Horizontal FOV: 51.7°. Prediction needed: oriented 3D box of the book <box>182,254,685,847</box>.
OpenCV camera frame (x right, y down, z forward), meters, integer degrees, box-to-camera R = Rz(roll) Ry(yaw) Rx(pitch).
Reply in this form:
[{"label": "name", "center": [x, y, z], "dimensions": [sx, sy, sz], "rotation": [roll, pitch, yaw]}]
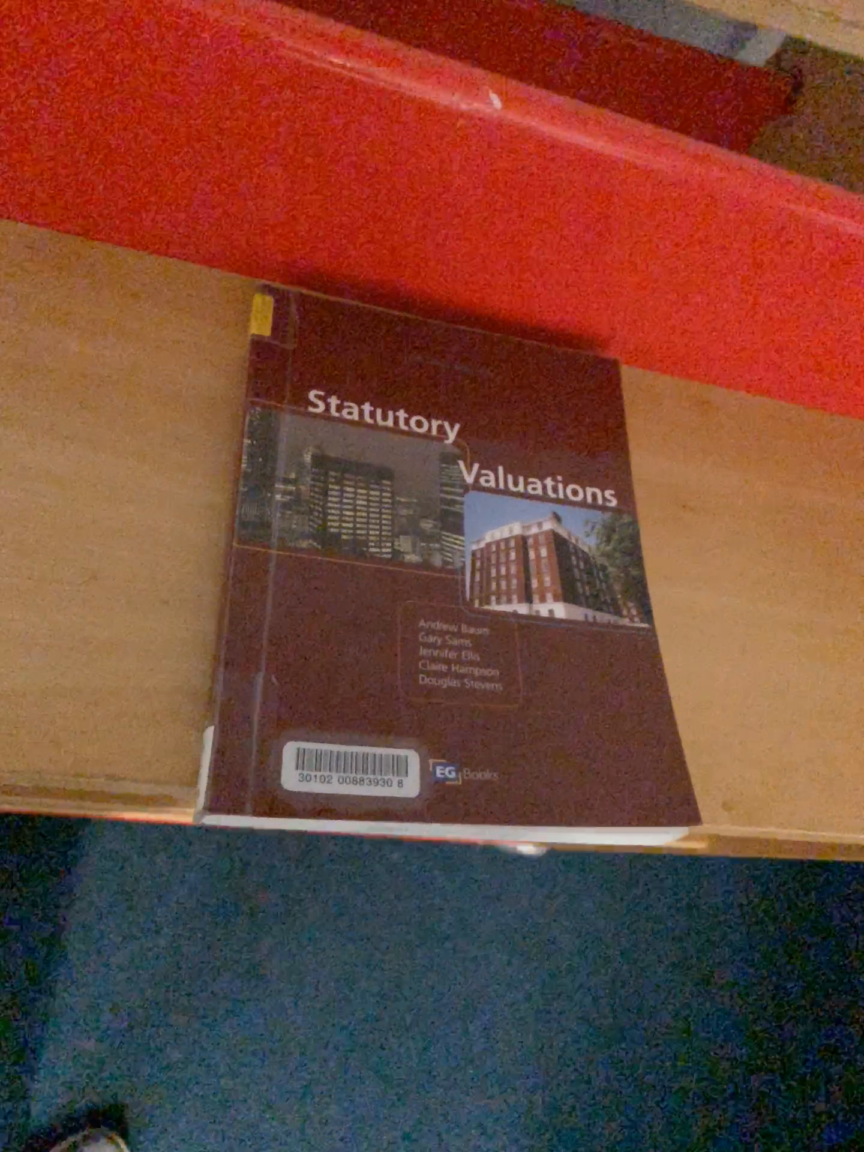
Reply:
[{"label": "book", "center": [0.004, -0.018, 0.391], "dimensions": [0.189, 0.027, 0.253], "rotation": [8, 61, -17]}]
